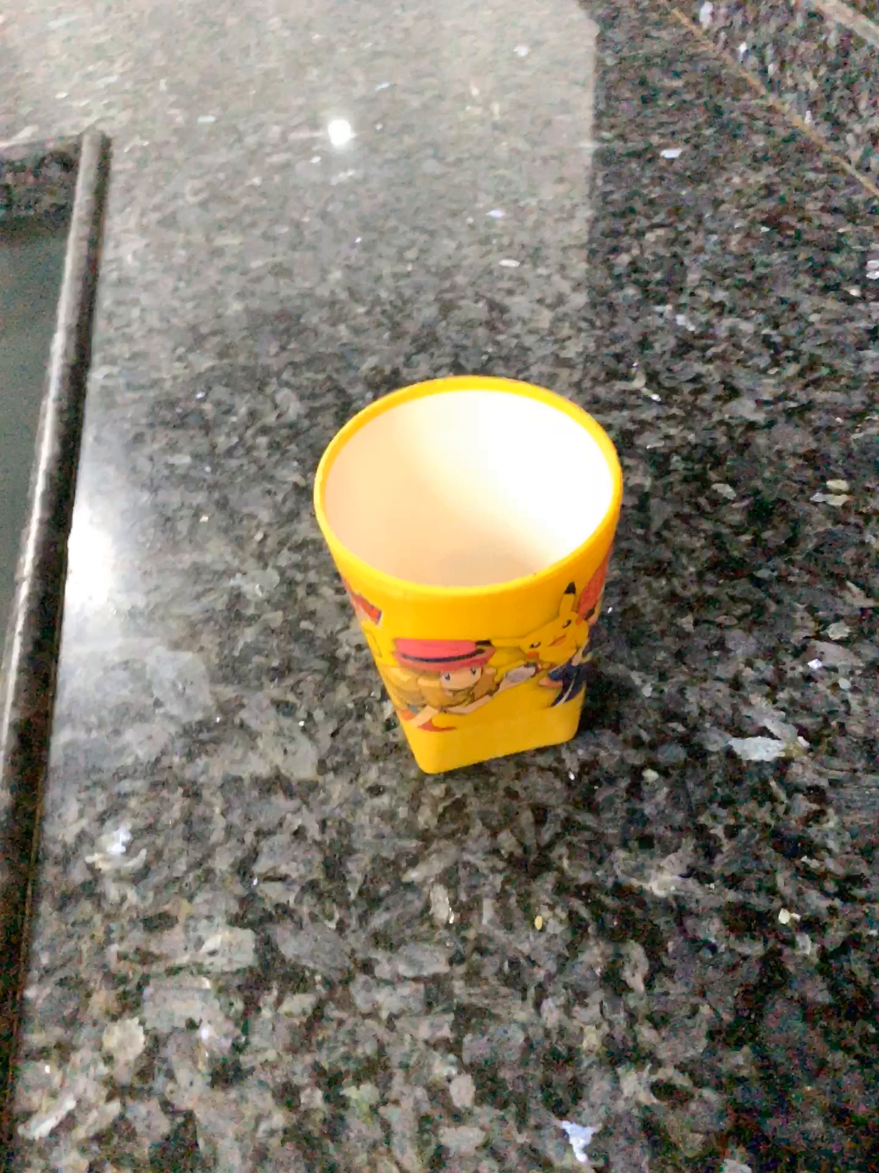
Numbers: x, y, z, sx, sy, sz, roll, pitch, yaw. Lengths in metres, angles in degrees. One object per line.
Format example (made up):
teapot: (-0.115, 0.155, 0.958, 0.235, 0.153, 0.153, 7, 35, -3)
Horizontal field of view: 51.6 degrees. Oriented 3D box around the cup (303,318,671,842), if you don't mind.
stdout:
cup: (0.010, -0.001, 0.278, 0.070, 0.109, 0.101, -14, 50, -6)
